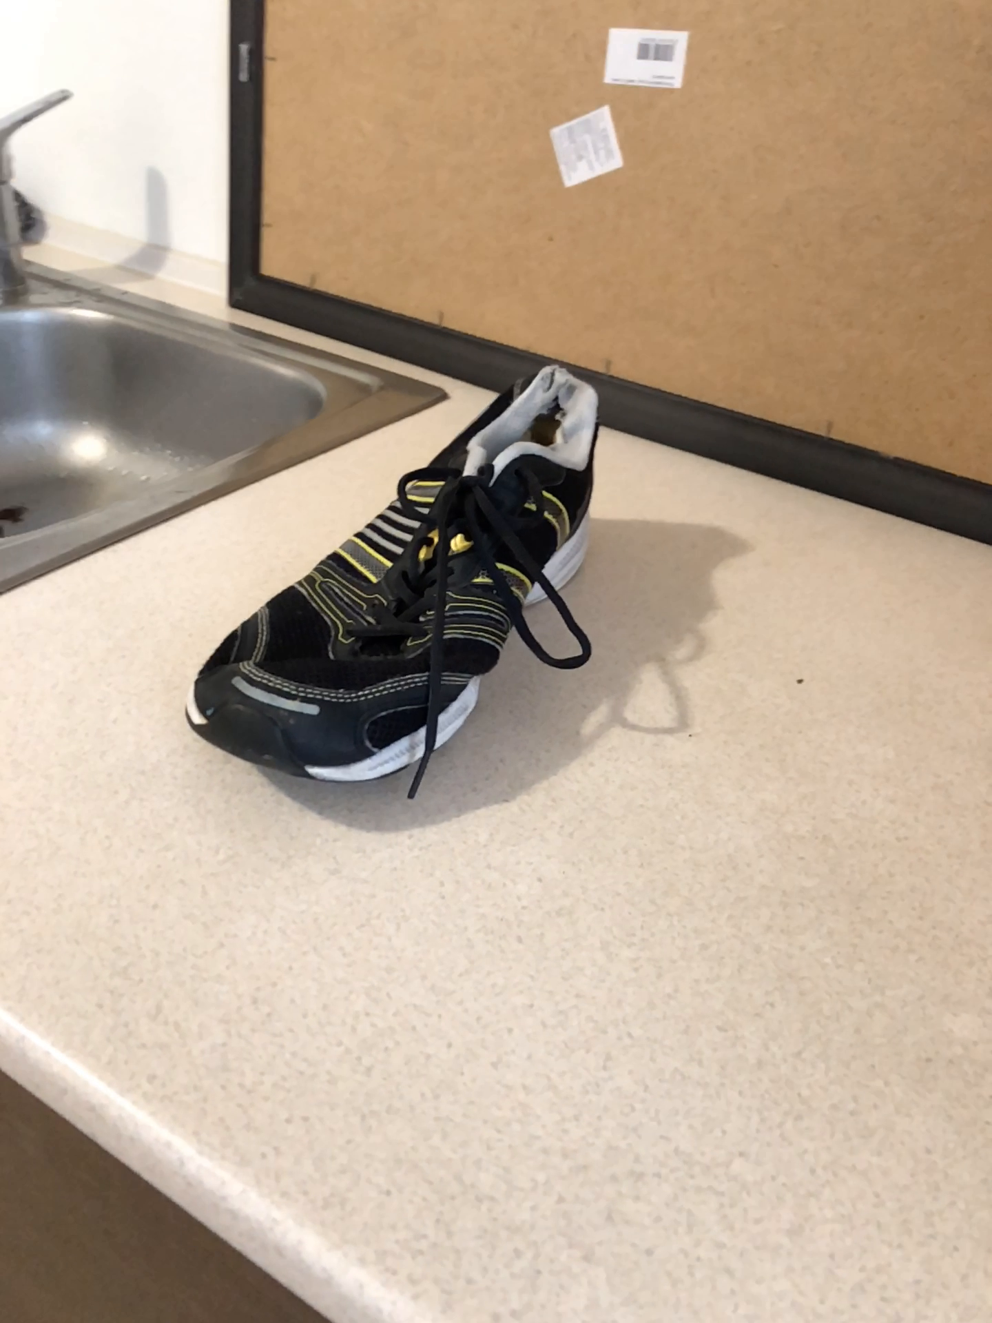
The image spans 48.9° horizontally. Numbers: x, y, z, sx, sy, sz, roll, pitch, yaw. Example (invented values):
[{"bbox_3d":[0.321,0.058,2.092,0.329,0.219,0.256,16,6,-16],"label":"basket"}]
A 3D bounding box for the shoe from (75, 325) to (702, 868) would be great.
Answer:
[{"bbox_3d":[-0.022,-0.057,0.489,0.110,0.099,0.312,21,35,22],"label":"shoe"}]
